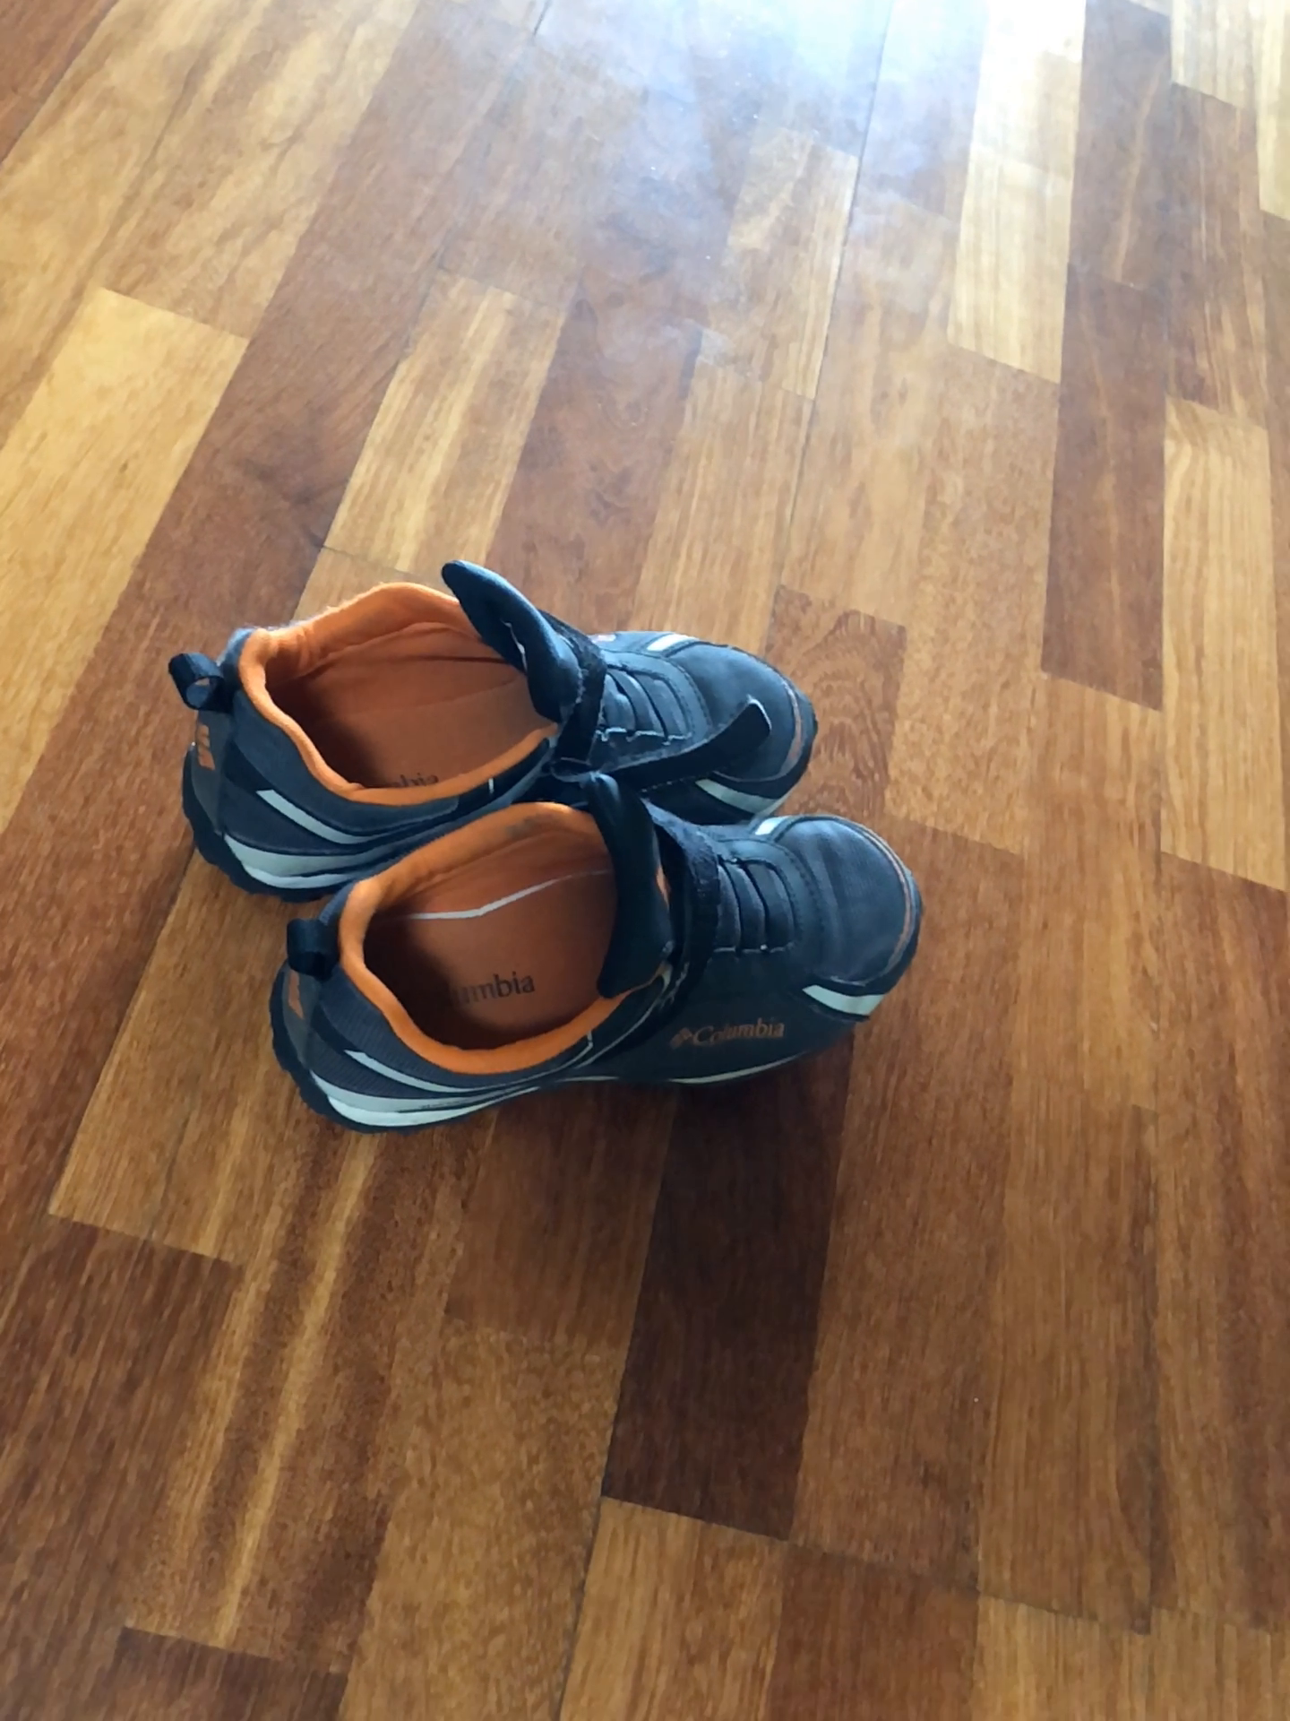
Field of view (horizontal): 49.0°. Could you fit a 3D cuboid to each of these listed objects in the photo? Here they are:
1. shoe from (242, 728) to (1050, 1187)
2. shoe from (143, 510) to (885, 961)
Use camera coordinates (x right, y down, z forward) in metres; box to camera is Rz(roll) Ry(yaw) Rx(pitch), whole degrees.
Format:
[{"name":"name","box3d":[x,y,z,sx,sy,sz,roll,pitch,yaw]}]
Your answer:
[{"name":"shoe","box3d":[-0.006,0.031,0.492,0.247,0.102,0.097,-6,65,-19]},{"name":"shoe","box3d":[-0.058,-0.051,0.562,0.252,0.126,0.112,-6,65,-19]}]
